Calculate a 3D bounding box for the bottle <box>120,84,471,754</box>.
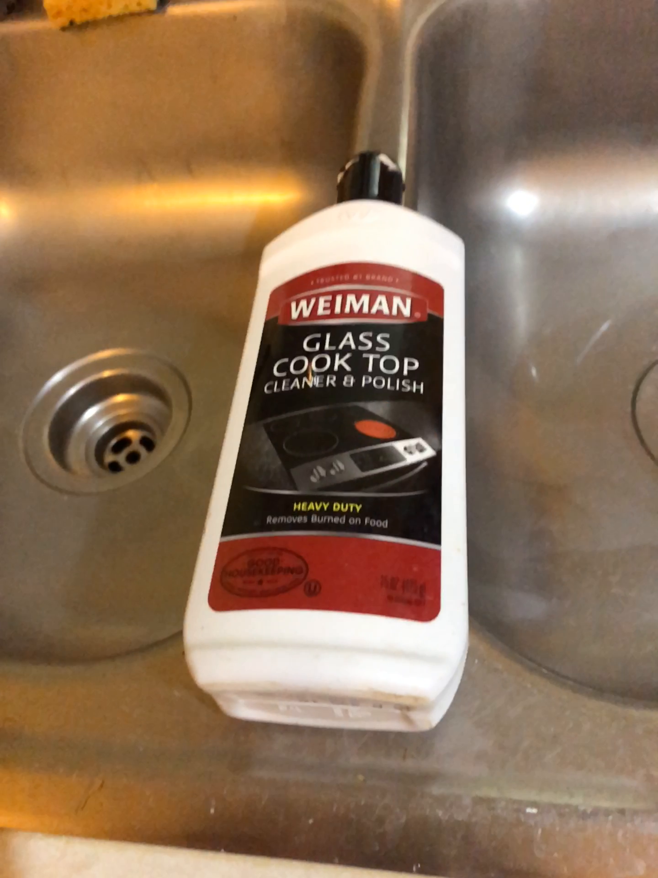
[{"bbox_3d":[0.005,-0.028,0.252,0.080,0.050,0.240,-1,55,10],"label":"bottle"}]
